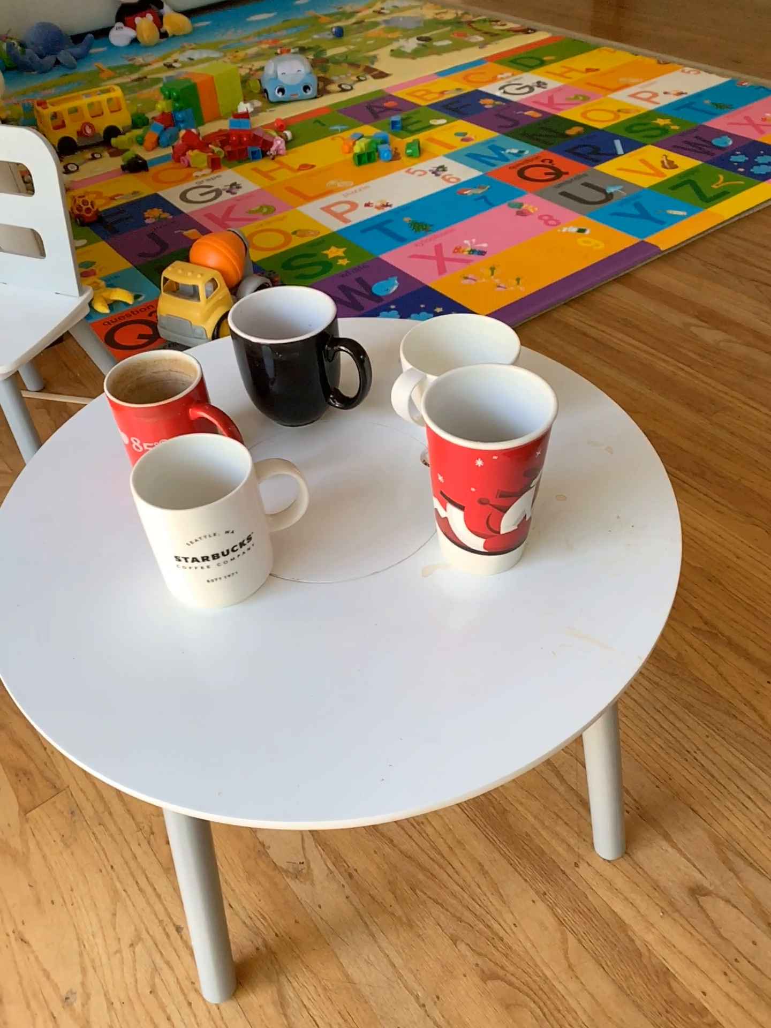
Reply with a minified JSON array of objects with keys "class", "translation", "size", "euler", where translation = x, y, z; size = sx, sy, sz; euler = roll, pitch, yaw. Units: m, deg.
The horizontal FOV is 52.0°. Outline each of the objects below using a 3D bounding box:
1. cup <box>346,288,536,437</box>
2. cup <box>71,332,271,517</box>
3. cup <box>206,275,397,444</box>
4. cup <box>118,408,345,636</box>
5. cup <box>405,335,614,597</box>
[{"class":"cup","translation":[0.046,-0.129,0.649],"size":[0.100,0.040,0.120],"euler":[30,54,29]},{"class":"cup","translation":[-0.172,-0.075,0.648],"size":[0.120,0.090,0.080],"euler":[23,51,24]},{"class":"cup","translation":[-0.070,-0.138,0.692],"size":[0.130,0.080,0.090],"euler":[23,51,24]},{"class":"cup","translation":[-0.109,0.004,0.567],"size":[0.130,0.100,0.090],"euler":[-15,46,-11]},{"class":"cup","translation":[0.083,-0.037,0.582],"size":[0.100,0.119,0.131],"euler":[-13,46,-9]}]
